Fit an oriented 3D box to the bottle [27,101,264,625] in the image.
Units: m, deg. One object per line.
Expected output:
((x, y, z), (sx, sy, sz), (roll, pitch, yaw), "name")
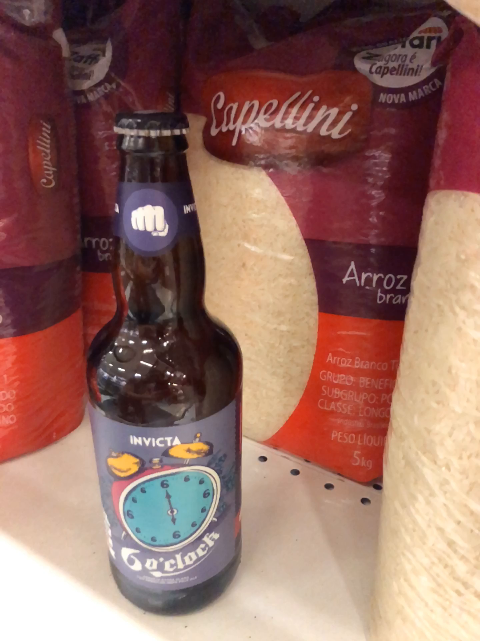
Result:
((-0.030, 0.028, 0.239), (0.070, 0.228, 0.070), (1, 26, 0), "bottle")
